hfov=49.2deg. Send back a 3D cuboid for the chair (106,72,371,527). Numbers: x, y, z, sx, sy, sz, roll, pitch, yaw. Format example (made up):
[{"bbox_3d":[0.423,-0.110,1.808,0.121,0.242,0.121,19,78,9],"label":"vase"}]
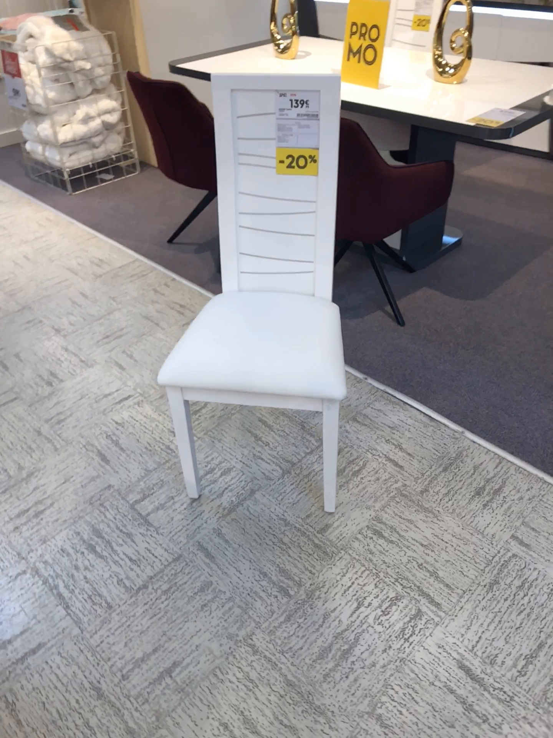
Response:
[{"bbox_3d":[-0.024,-0.156,1.559,0.450,1.004,0.544,4,38,8],"label":"chair"}]
